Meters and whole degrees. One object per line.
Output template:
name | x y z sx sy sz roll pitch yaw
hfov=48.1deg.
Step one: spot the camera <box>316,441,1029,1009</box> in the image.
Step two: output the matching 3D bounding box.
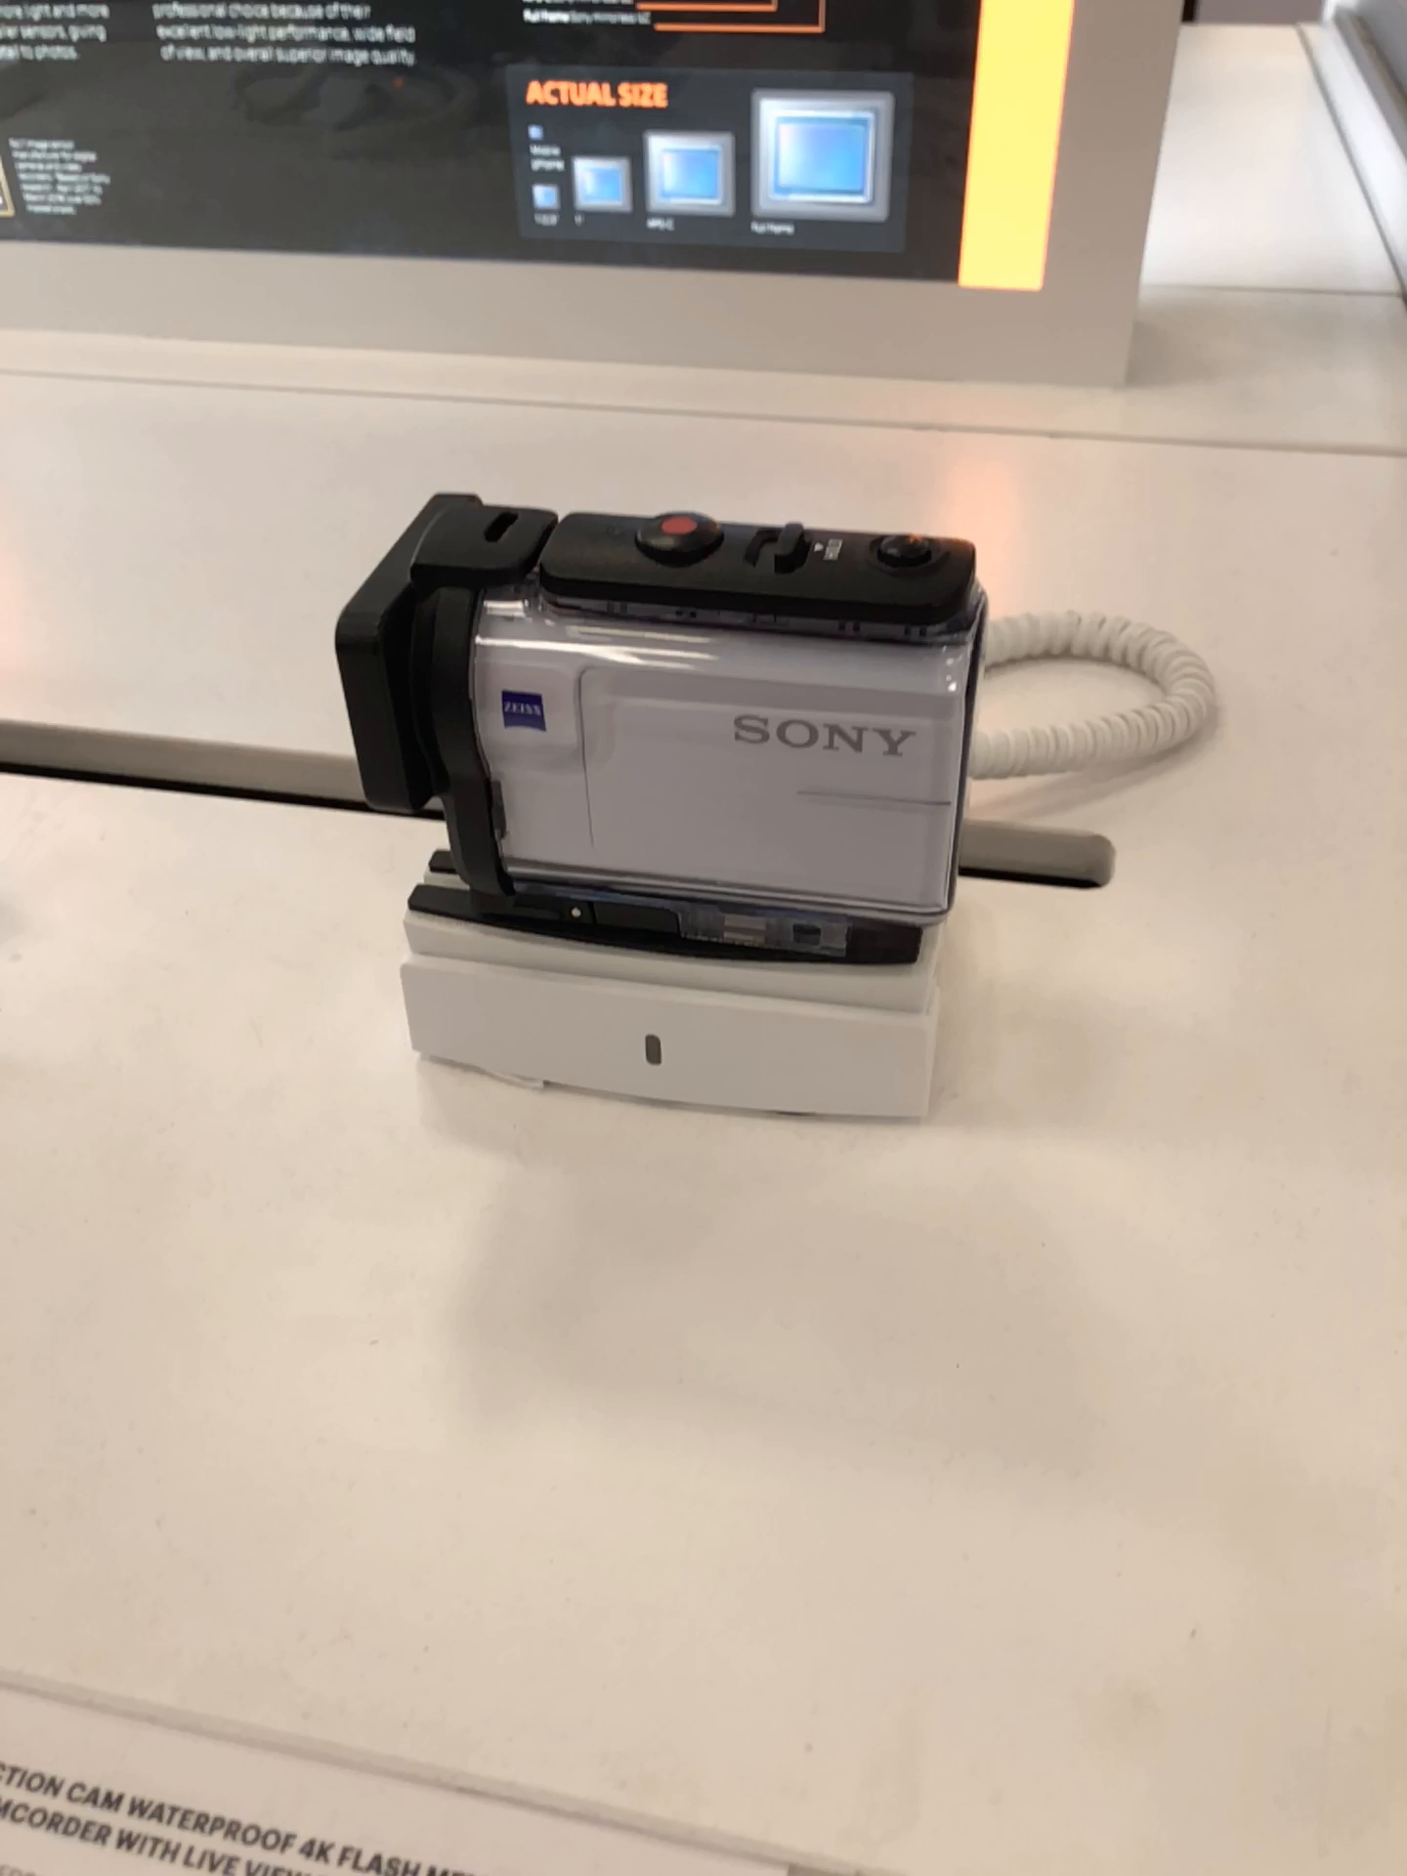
camera | -0.001 -0.034 0.237 0.090 0.060 0.050 7 40 10
